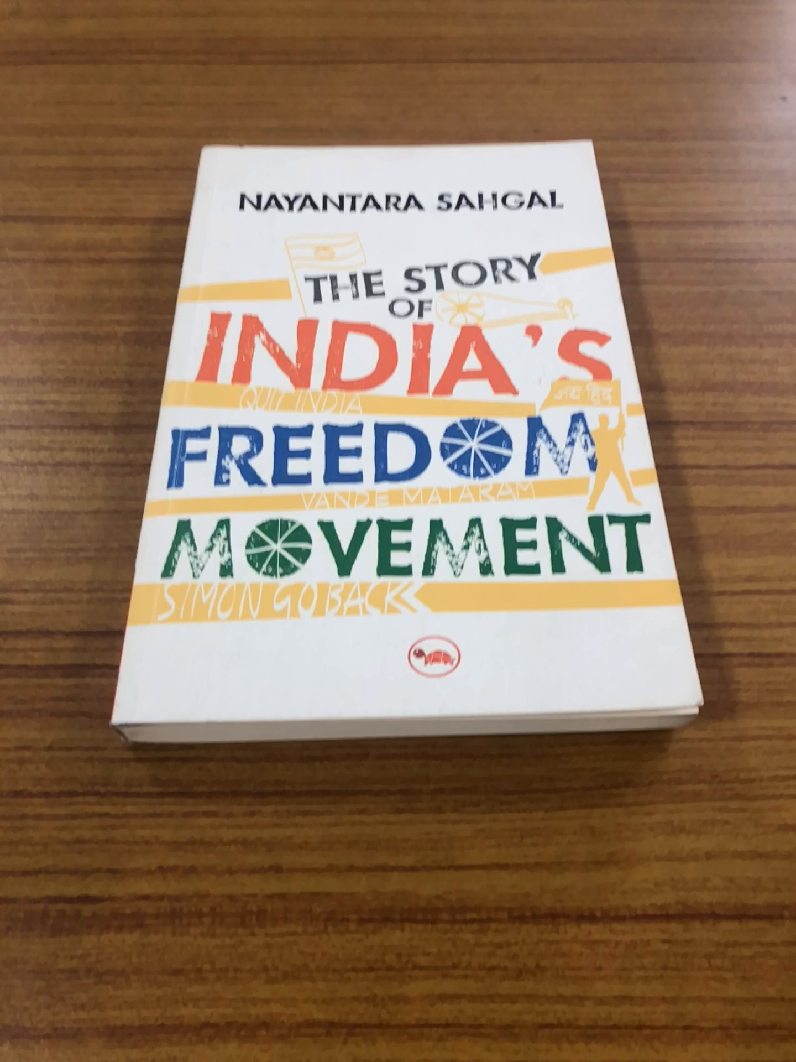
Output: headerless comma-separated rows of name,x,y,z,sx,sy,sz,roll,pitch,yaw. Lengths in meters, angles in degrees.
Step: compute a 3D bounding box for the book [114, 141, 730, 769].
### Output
book,0.004,-0.033,0.250,0.130,0.030,0.190,-1,60,0
